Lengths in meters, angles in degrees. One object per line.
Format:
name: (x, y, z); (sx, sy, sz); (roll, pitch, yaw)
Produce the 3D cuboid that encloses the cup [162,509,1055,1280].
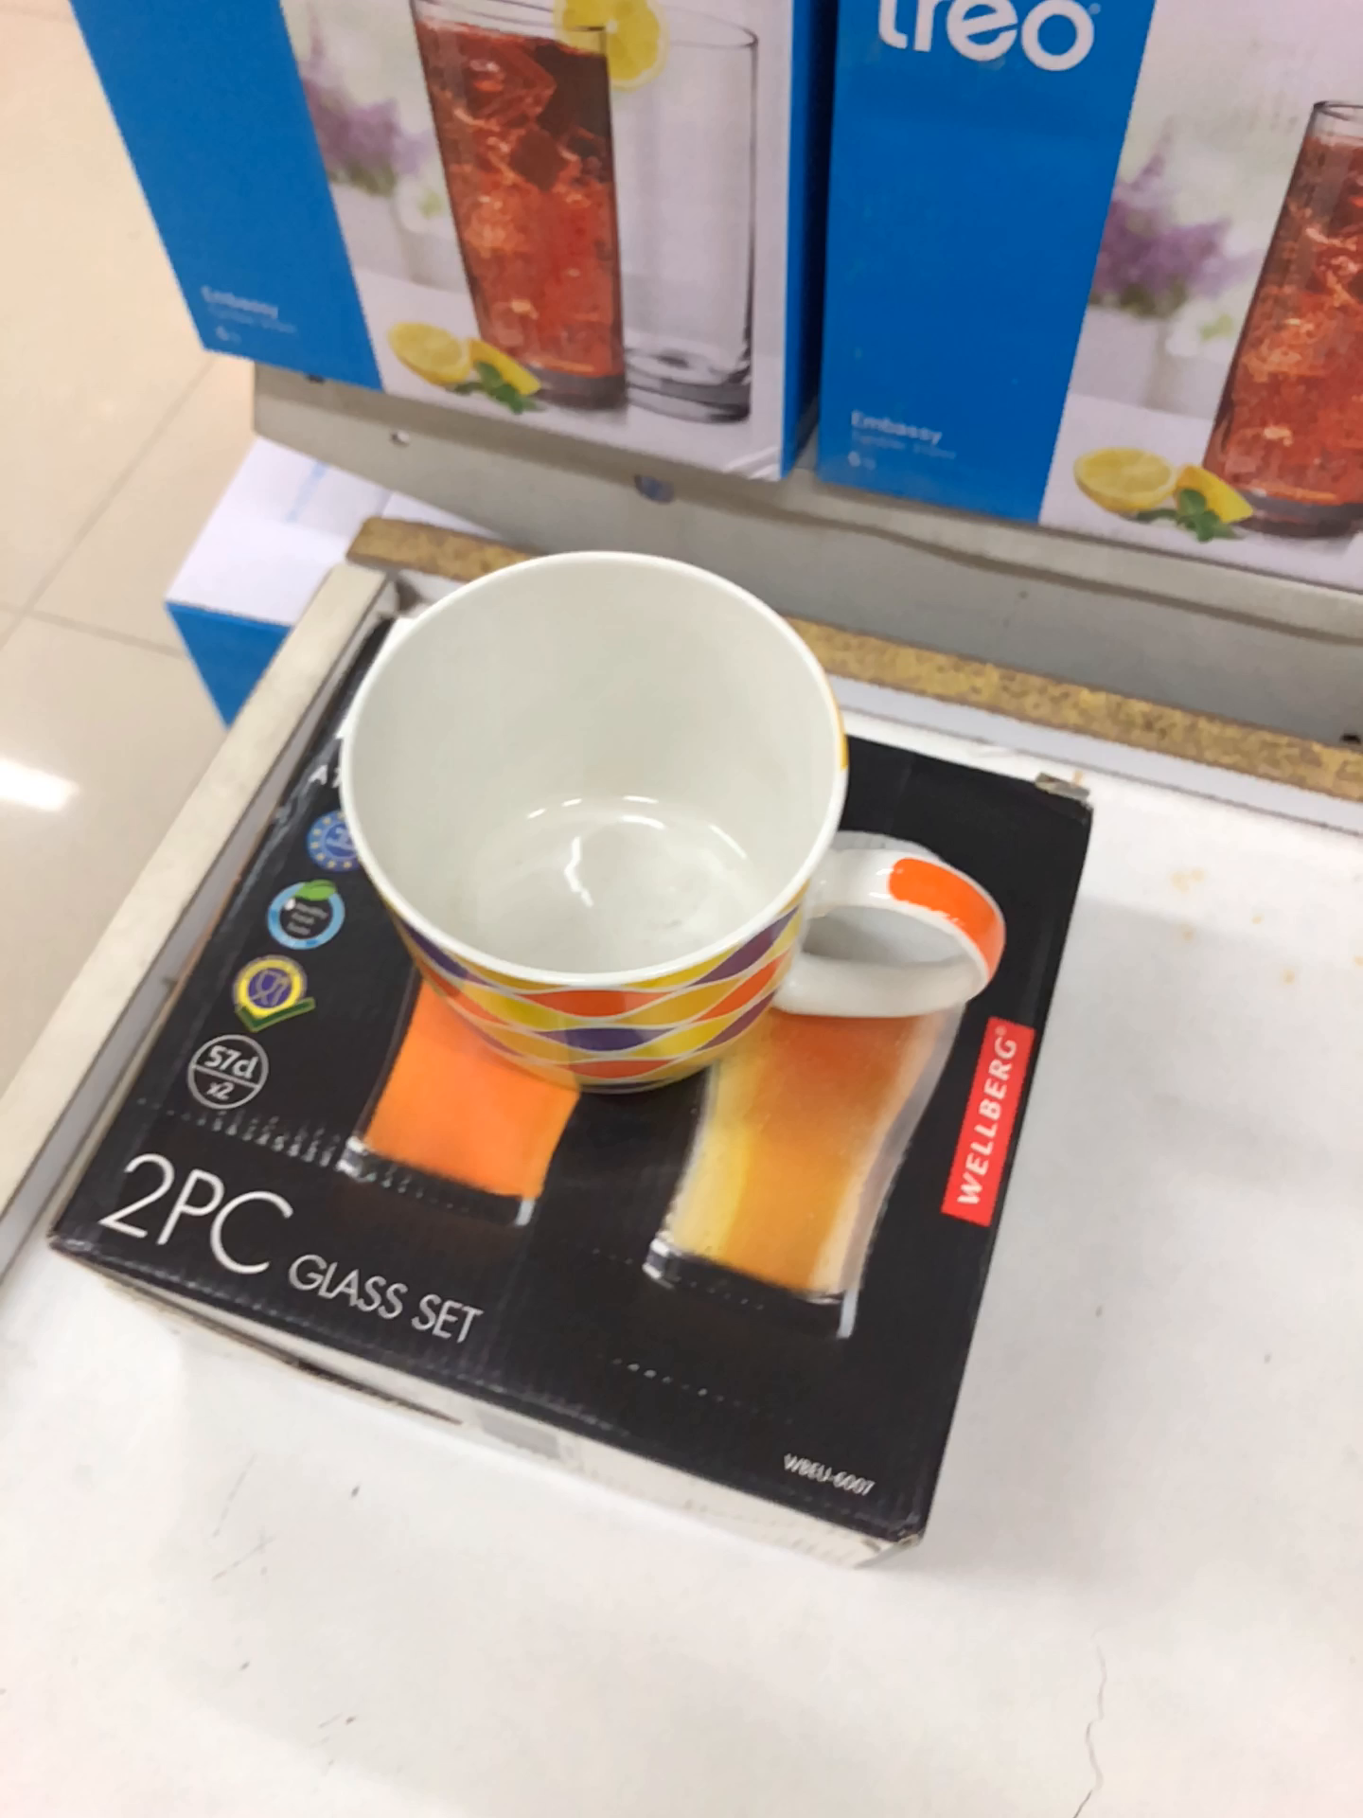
cup: (-0.008, -0.001, 0.297); (0.130, 0.090, 0.090); (13, 61, 10)
